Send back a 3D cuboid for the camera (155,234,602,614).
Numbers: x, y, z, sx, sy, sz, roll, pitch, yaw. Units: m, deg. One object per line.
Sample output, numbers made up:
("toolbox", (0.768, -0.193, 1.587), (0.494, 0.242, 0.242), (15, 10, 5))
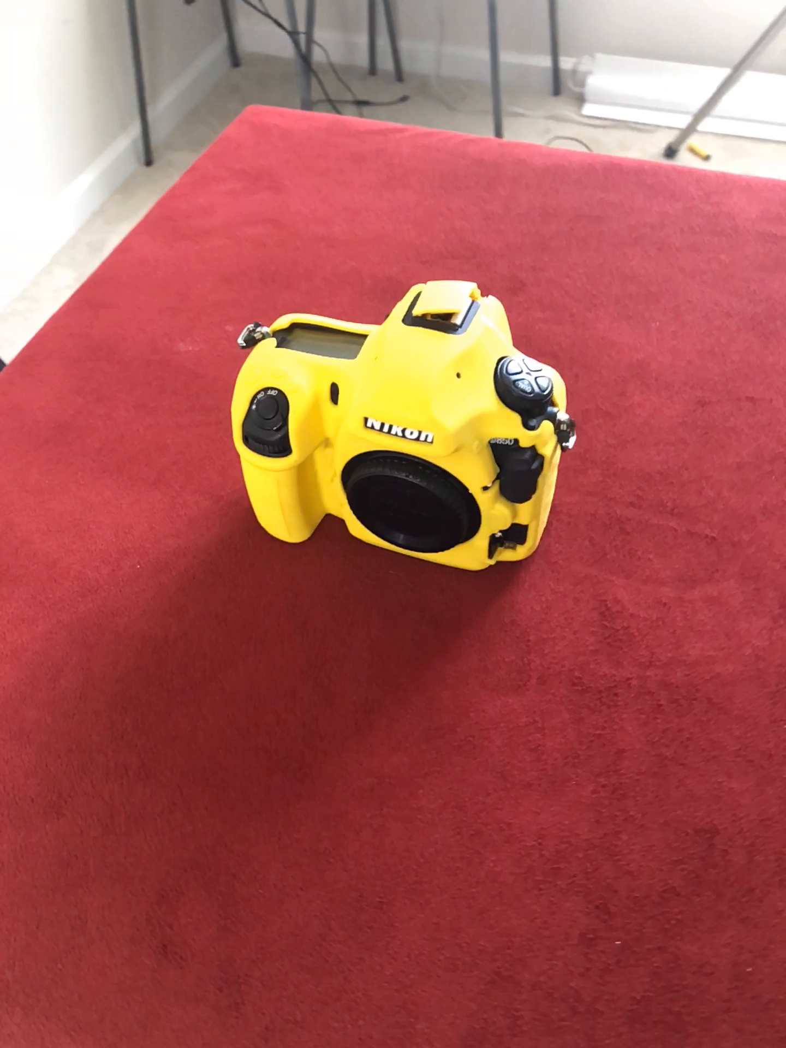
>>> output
("camera", (-0.002, -0.044, 0.393), (0.160, 0.116, 0.082), (14, 55, 15))
